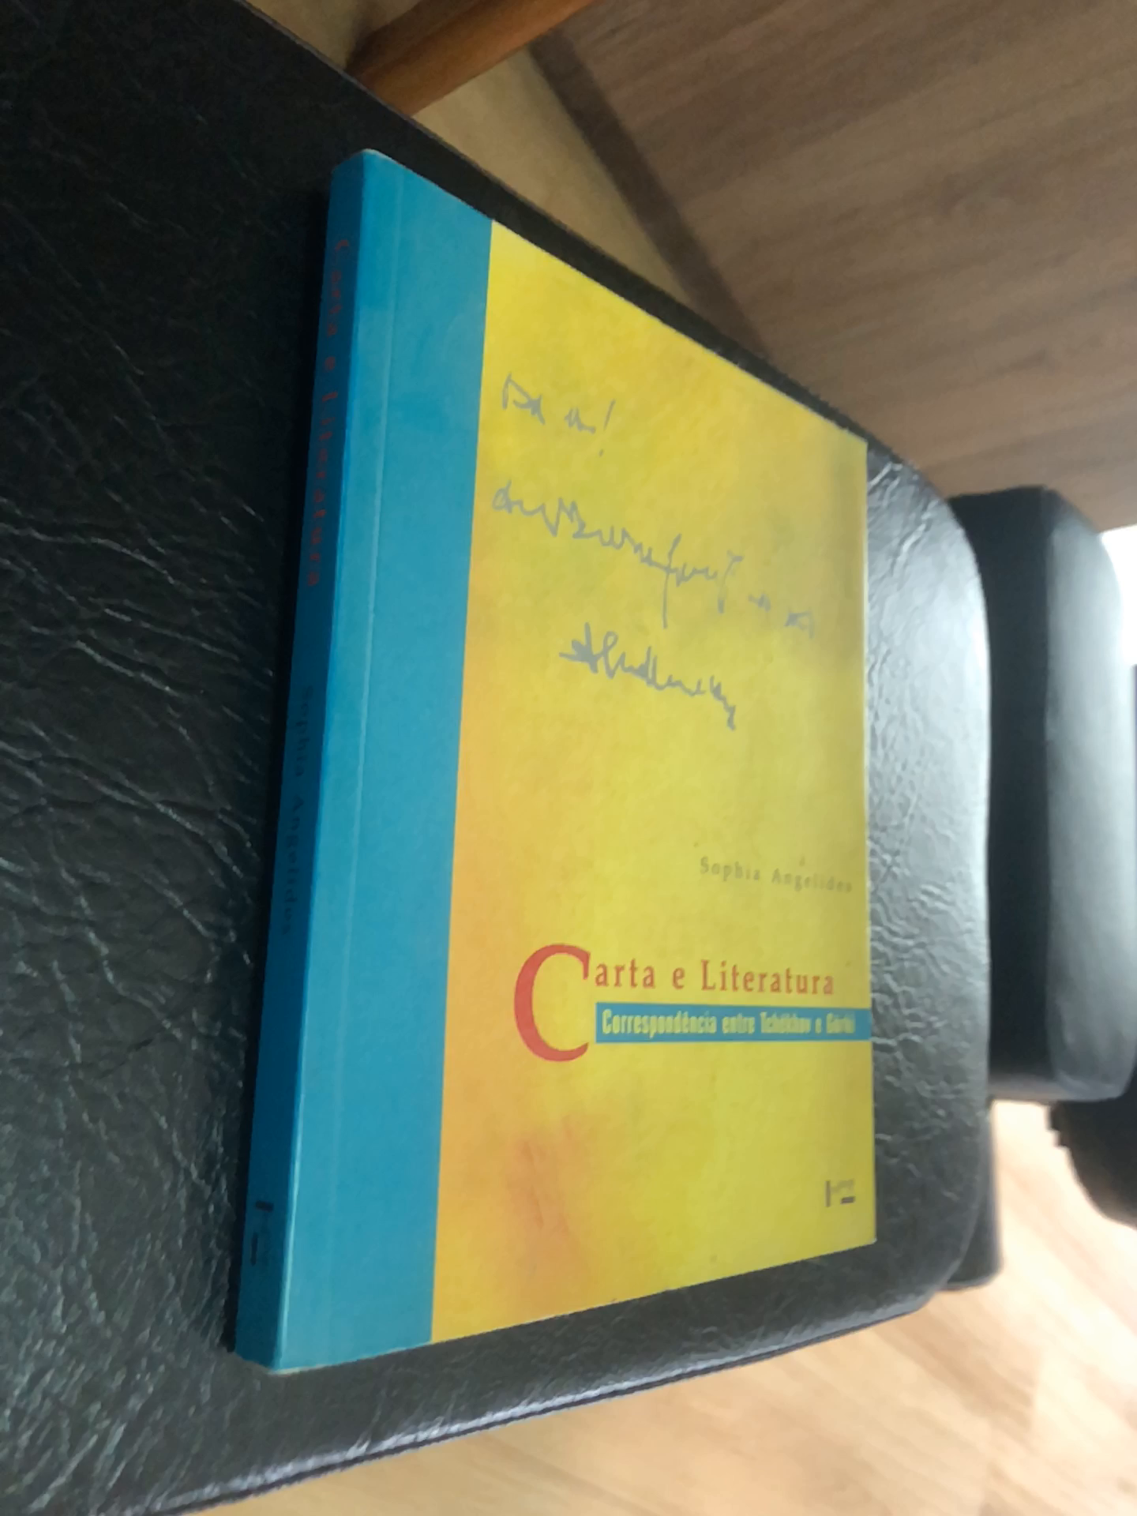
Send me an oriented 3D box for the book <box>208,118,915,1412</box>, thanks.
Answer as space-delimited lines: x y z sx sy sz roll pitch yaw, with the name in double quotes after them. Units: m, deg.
0.018 0.006 0.269 0.174 0.024 0.208 12 77 -44 "book"
